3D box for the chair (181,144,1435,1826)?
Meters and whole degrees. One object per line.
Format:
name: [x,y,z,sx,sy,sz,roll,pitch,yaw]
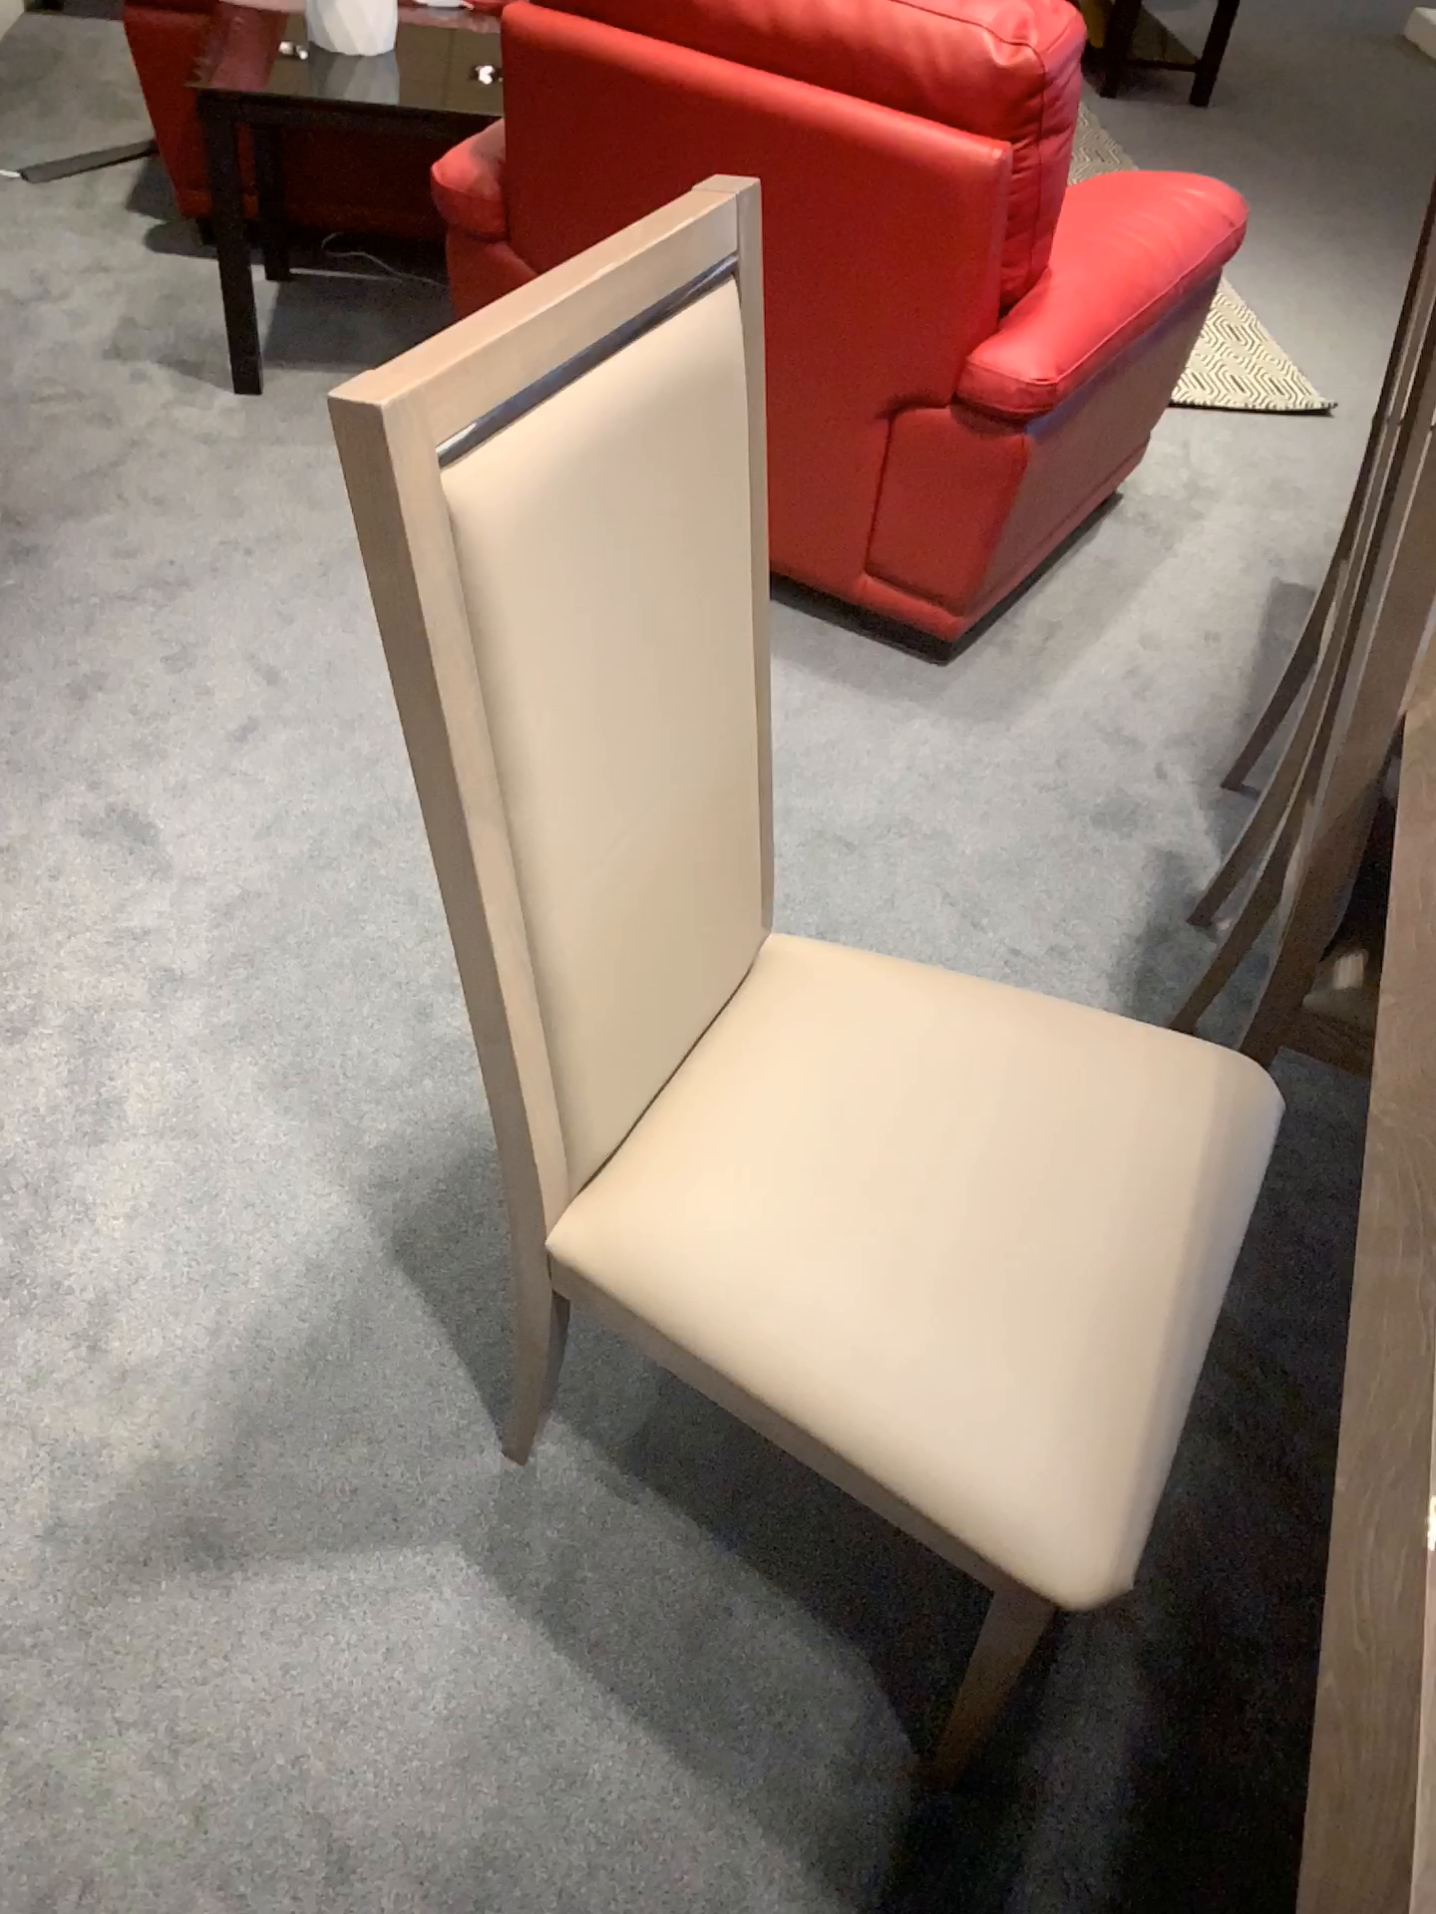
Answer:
chair: [0.107,0.068,1.048,0.586,0.946,0.542,22,47,14]
